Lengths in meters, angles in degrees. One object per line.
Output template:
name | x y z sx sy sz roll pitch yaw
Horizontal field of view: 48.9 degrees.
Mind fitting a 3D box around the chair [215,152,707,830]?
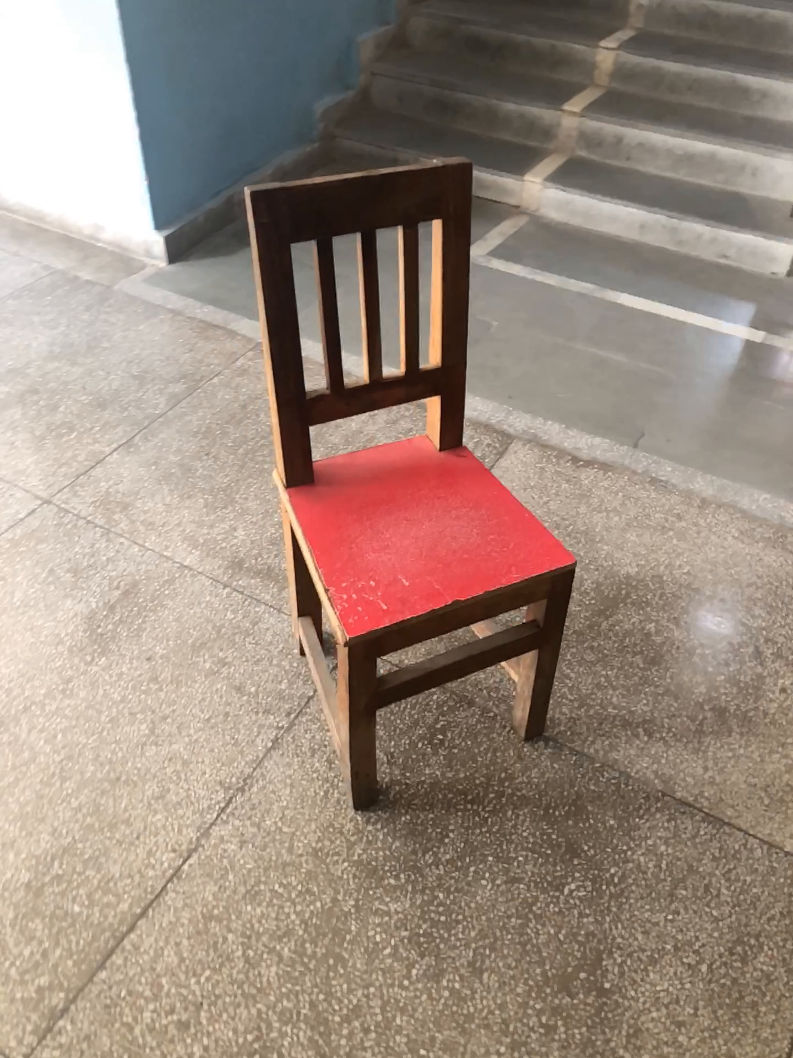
chair | 0.031 -0.043 1.307 0.400 0.817 0.482 -16 45 -22
